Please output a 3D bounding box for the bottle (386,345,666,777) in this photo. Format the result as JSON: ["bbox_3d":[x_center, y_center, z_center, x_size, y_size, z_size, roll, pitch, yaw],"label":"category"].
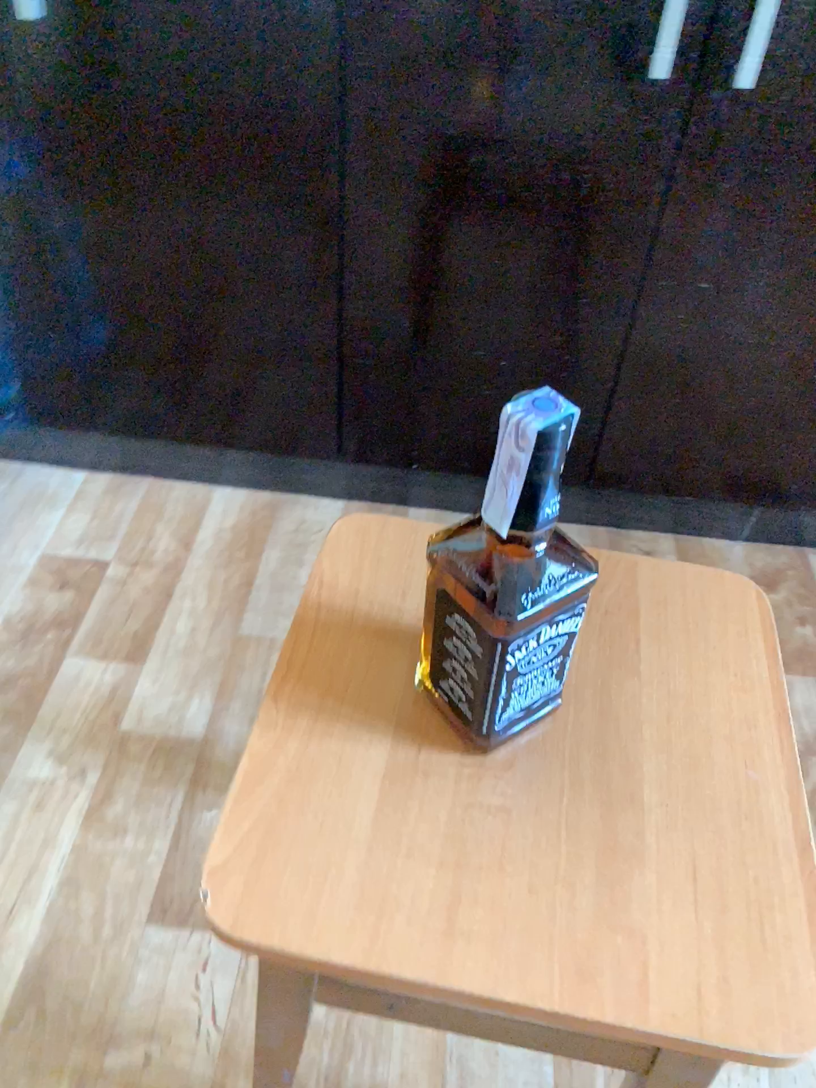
[{"bbox_3d":[0.049,0.017,0.436,0.080,0.209,0.080,3,44,-2],"label":"bottle"}]
